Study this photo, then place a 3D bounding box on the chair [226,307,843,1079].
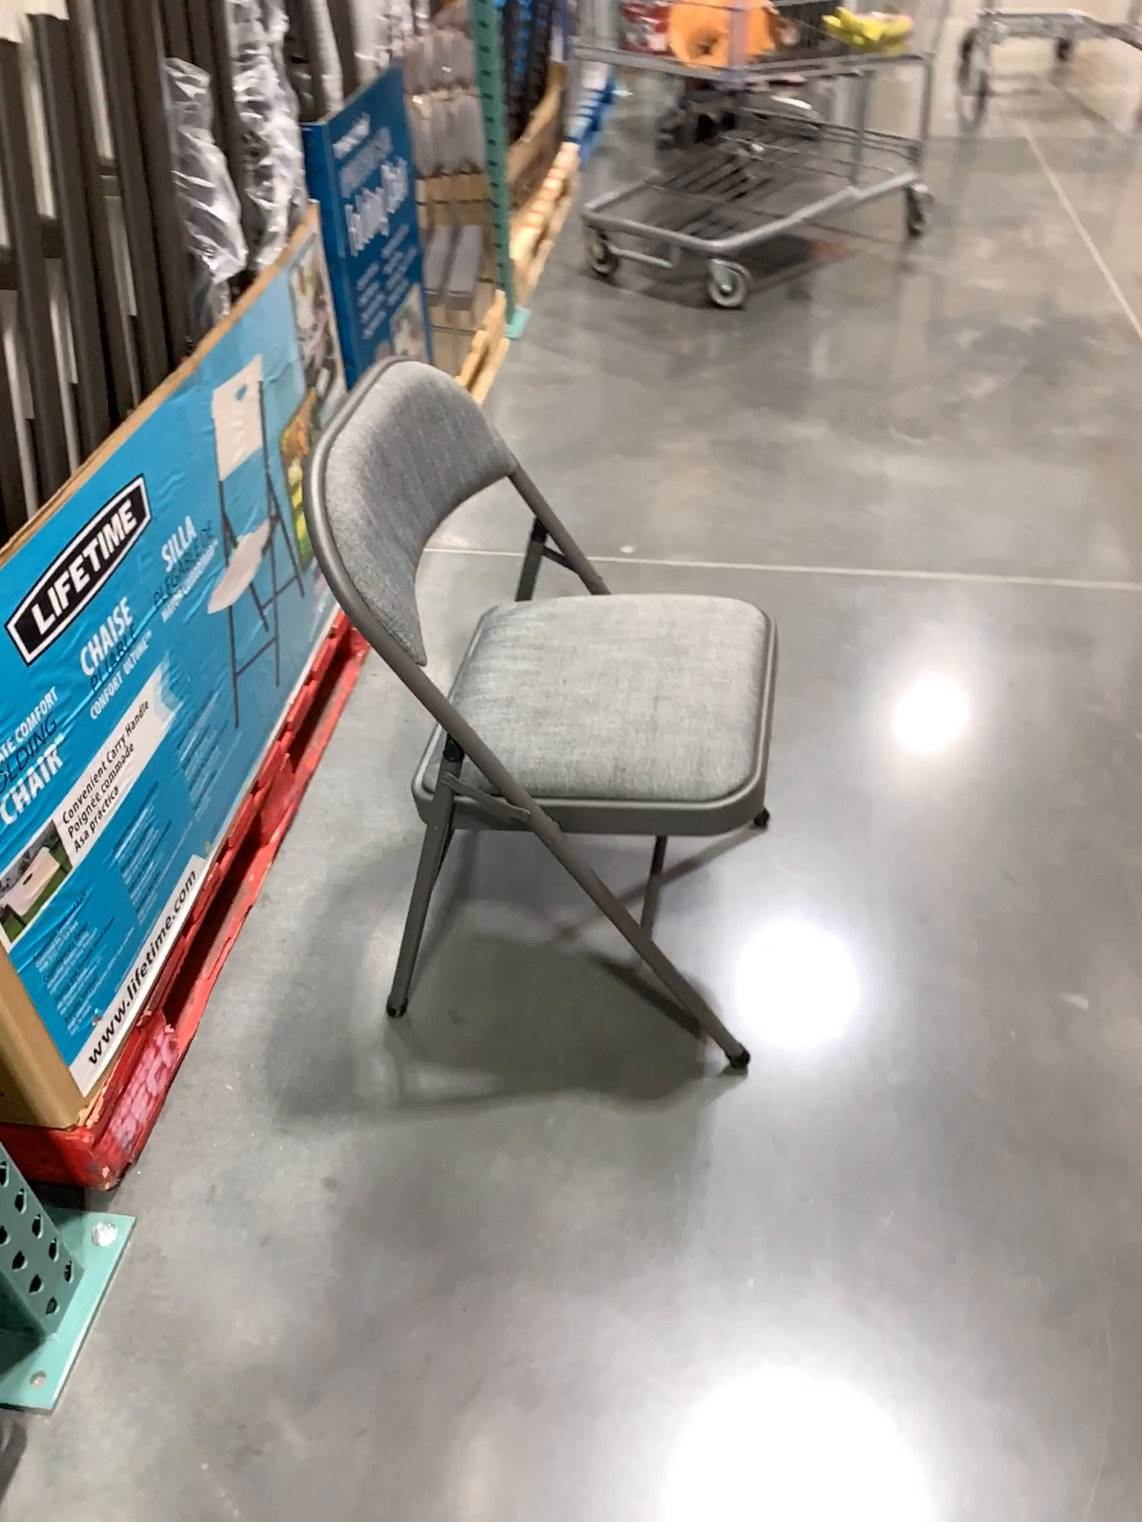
[{"bbox_3d":[0.007,-0.075,1.345,0.502,0.688,0.496,5,42,7],"label":"chair"}]
